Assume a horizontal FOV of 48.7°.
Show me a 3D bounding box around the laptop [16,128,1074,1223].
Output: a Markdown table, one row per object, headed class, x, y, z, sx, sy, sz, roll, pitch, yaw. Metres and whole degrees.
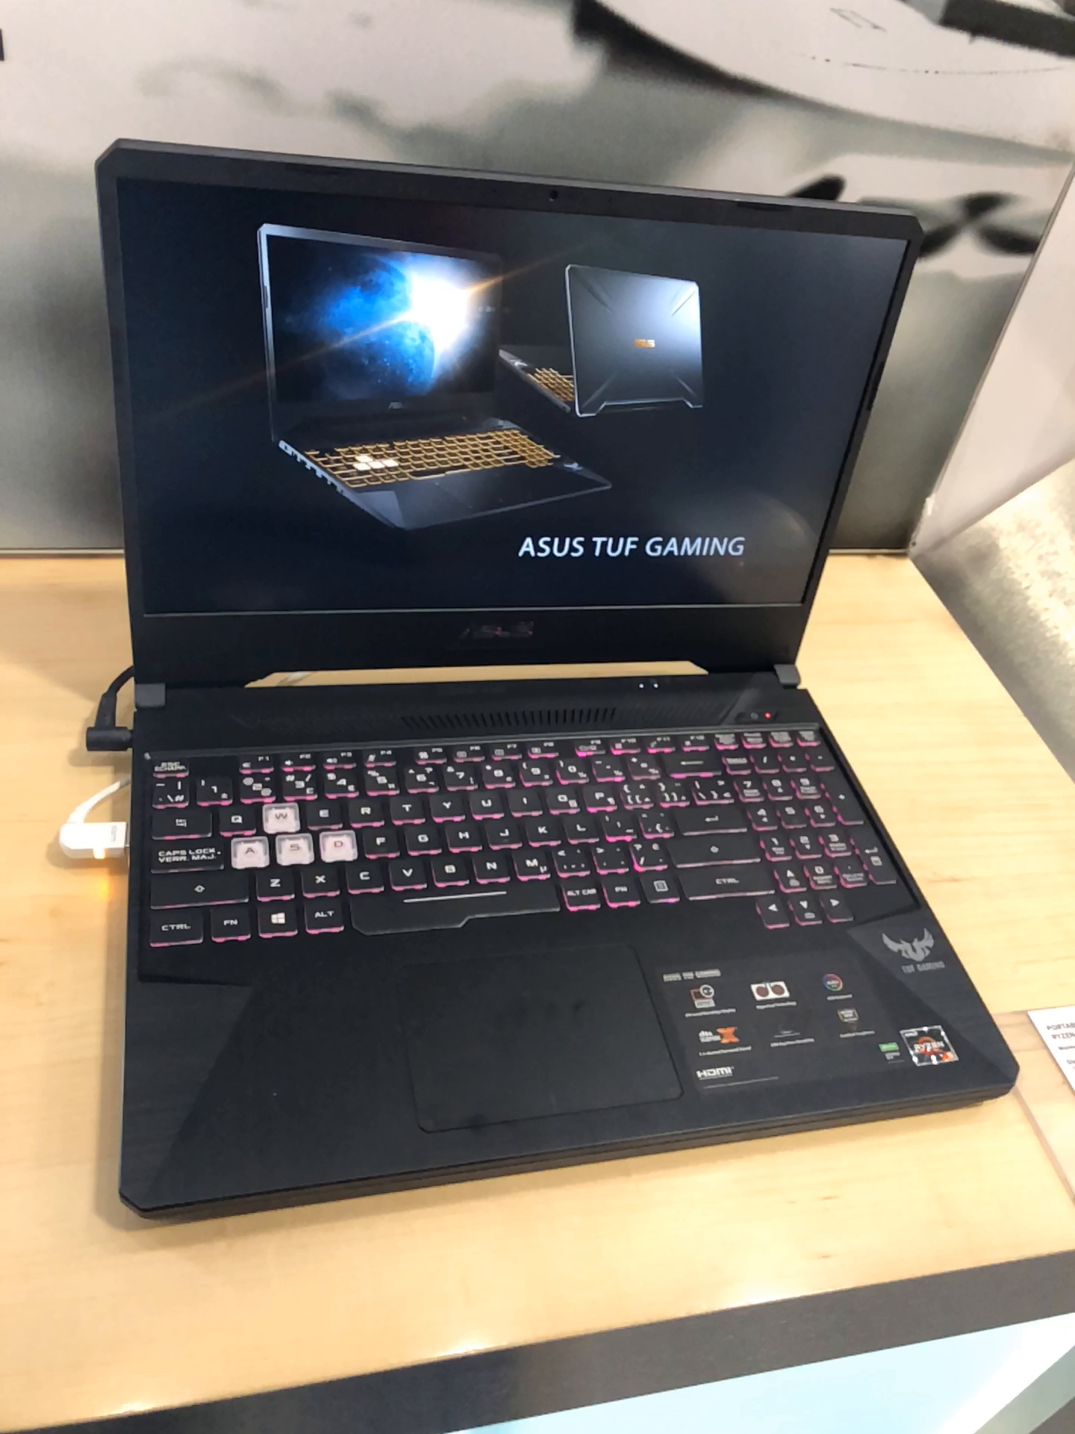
| class | x | y | z | sx | sy | sz | roll | pitch | yaw |
| --- | --- | --- | --- | --- | --- | --- | --- | --- | --- |
| laptop | 0.016 | -0.035 | 0.474 | 0.359 | 0.245 | 0.310 | -3 | 44 | -16 |
